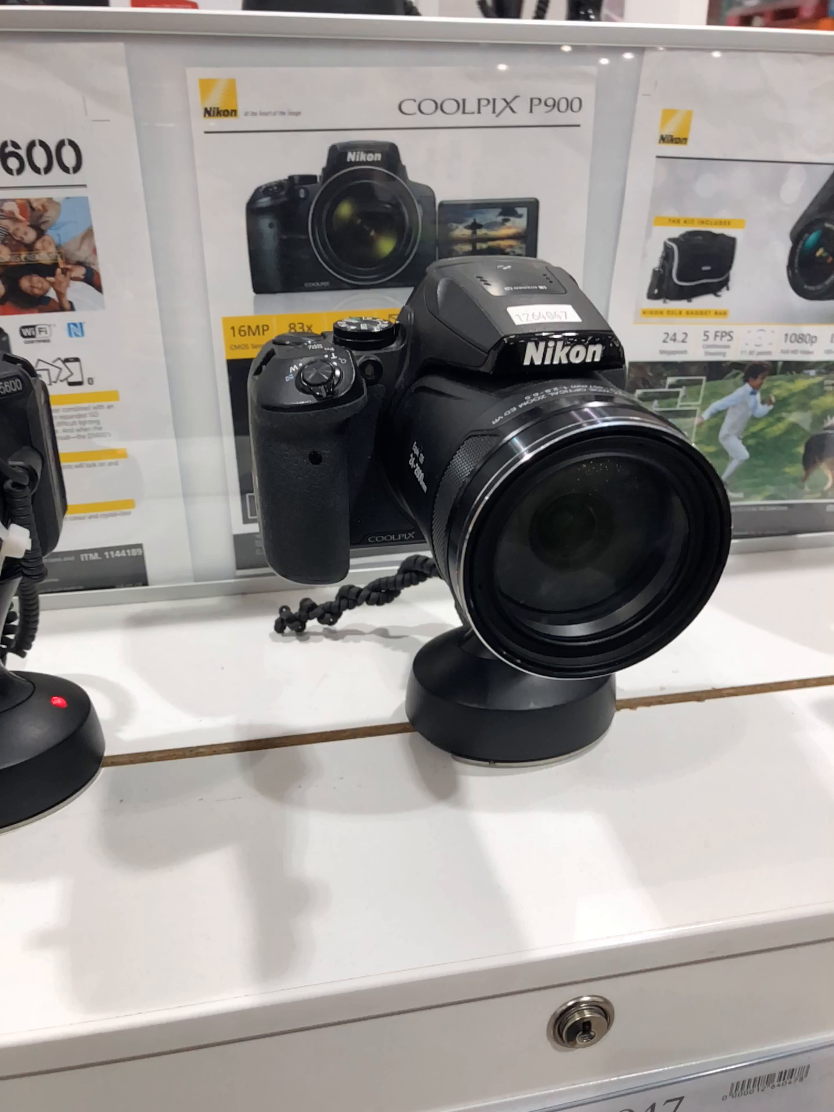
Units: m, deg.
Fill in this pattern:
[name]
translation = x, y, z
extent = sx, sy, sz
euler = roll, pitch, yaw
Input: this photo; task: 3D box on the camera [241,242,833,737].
[camera]
translation = 0.023, -0.039, 0.298
extent = 0.140, 0.100, 0.161
euler = -5, 25, -12
